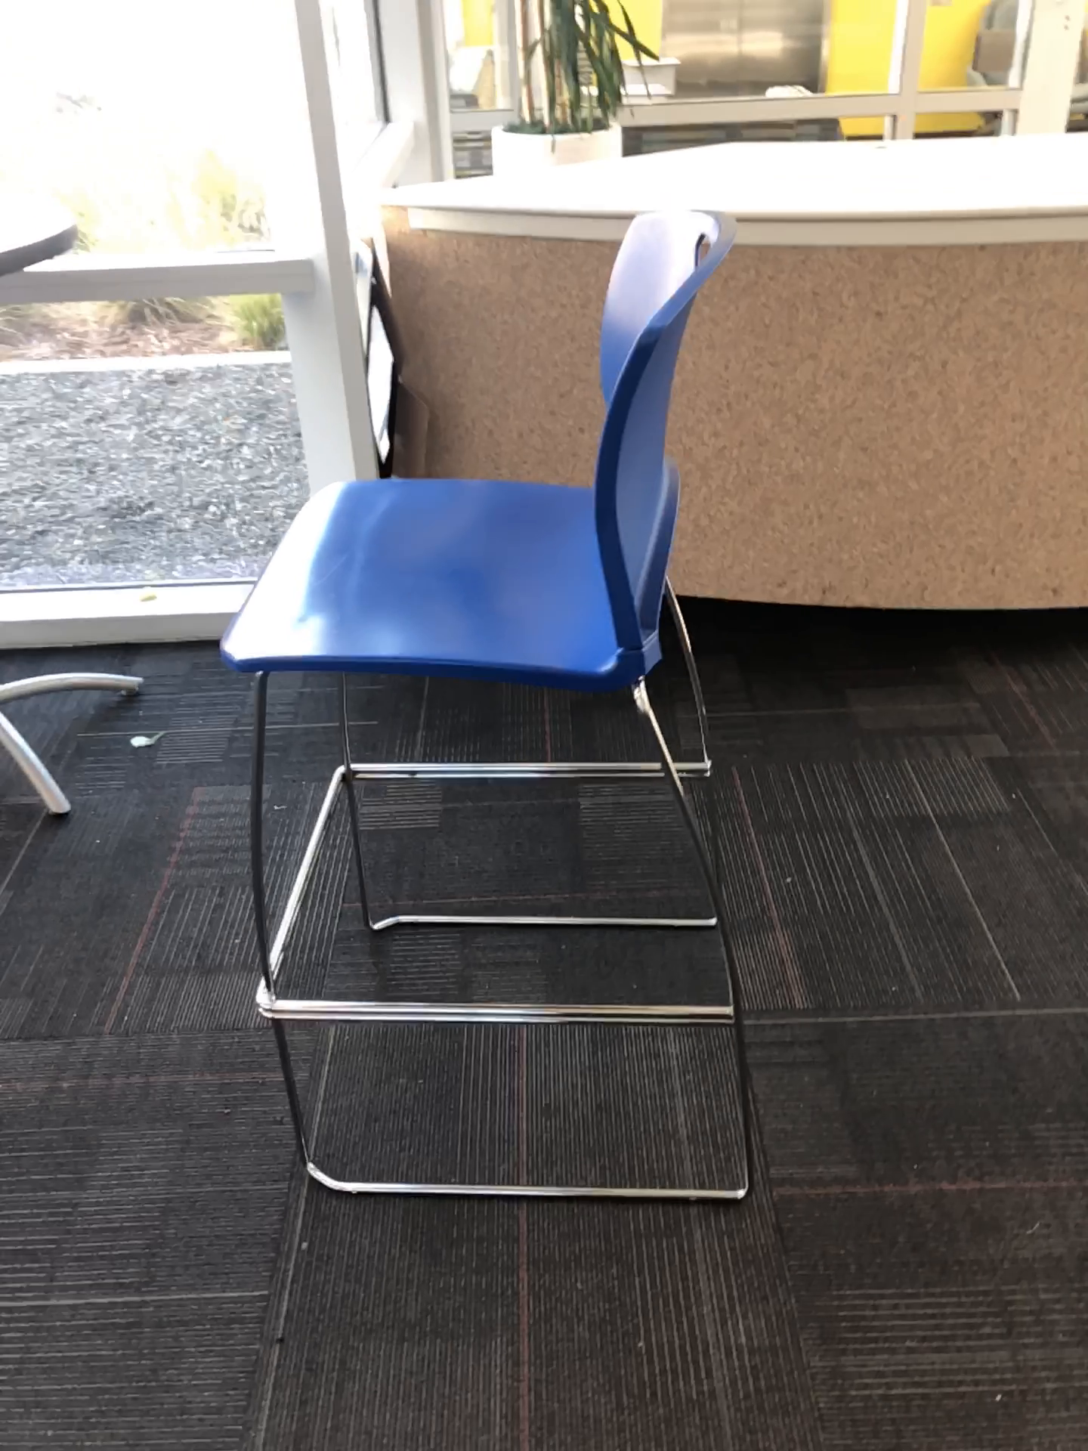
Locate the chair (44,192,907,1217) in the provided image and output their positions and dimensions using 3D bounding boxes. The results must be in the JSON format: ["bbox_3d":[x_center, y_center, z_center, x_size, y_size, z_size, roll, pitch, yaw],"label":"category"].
[{"bbox_3d":[-0.016,-0.012,1.328,0.610,0.965,0.553,-1,32,4],"label":"chair"}]
